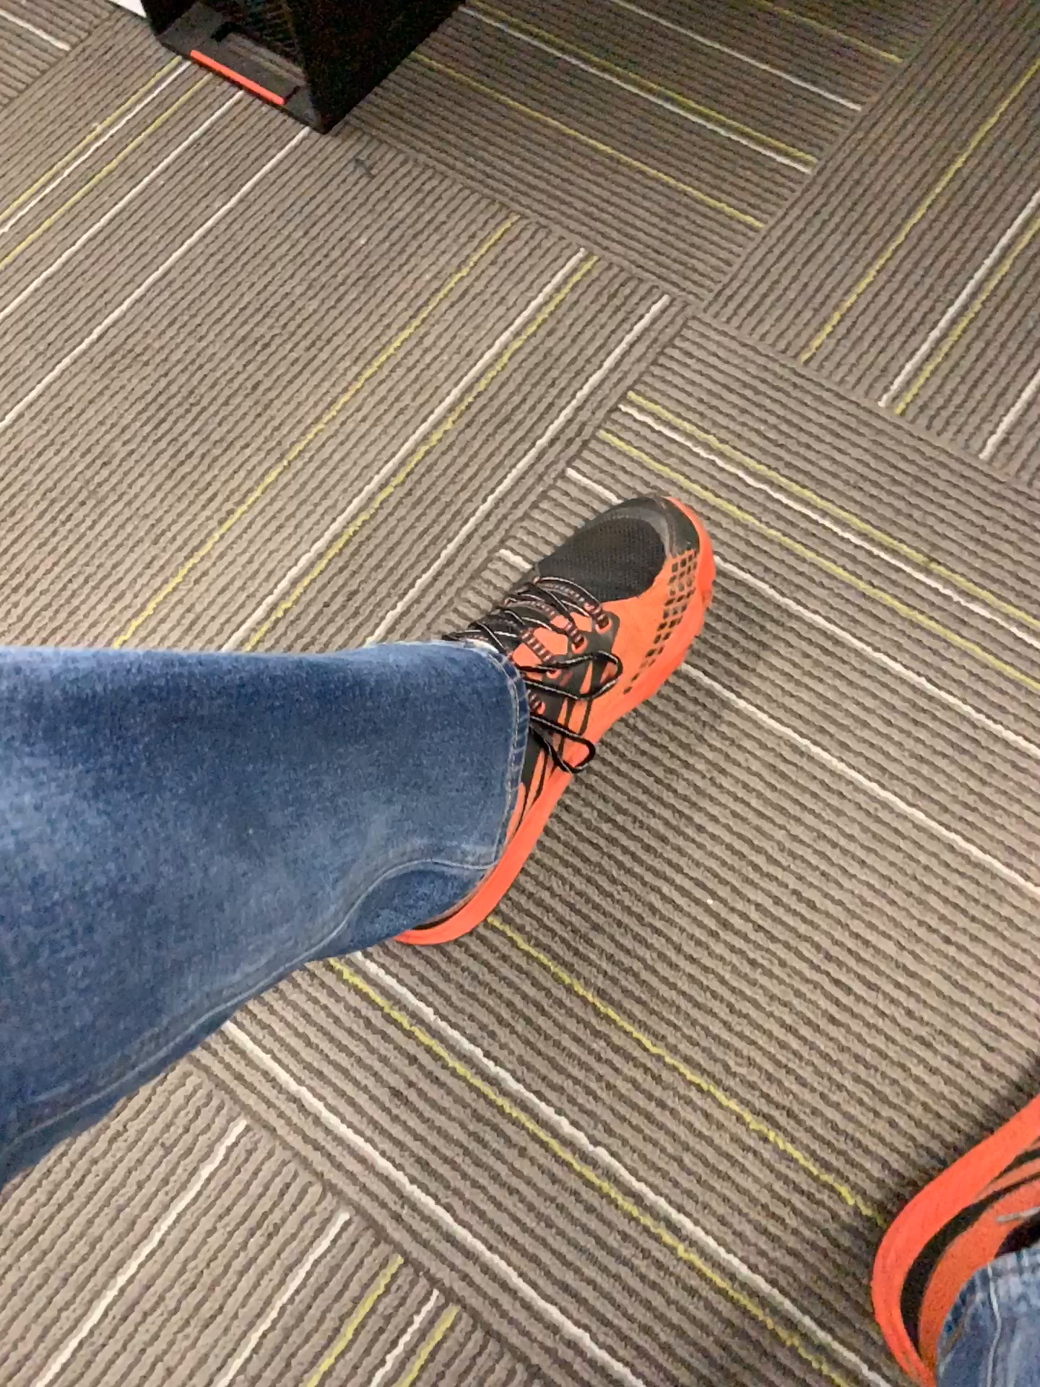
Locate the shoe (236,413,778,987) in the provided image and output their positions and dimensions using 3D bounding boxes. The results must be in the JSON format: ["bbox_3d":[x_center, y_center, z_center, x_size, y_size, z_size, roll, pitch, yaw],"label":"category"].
[{"bbox_3d":[0.001,-0.007,0.612,0.132,0.090,0.305,29,73,35],"label":"shoe"}]

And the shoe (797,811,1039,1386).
[{"bbox_3d":[0.296,0.215,0.503,0.302,0.090,0.140,-43,83,-11],"label":"shoe"}]
